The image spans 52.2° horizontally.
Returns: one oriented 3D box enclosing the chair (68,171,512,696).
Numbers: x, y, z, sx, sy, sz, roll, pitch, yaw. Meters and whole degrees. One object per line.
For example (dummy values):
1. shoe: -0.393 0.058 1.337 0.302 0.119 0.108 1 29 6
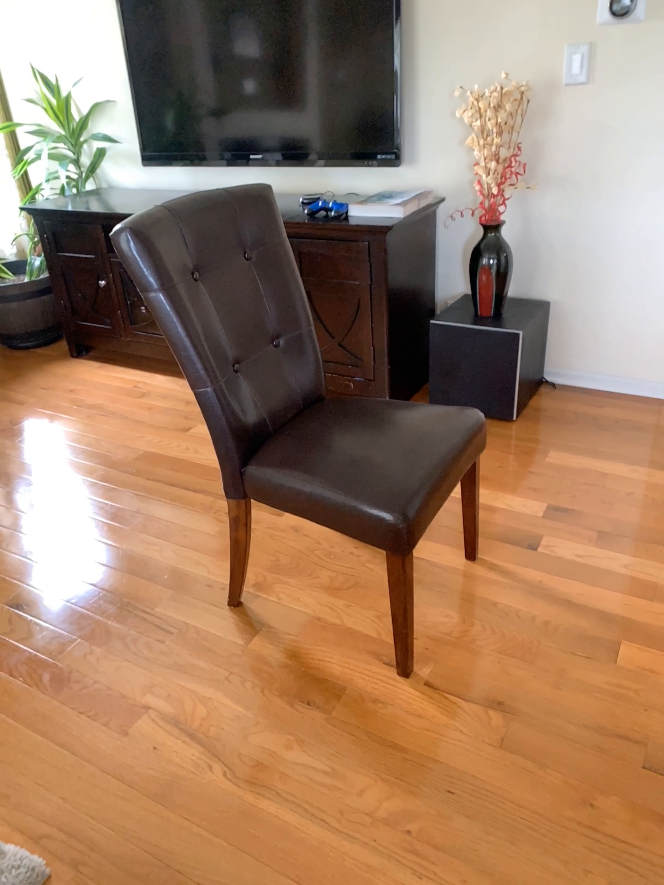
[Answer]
1. chair: -0.041 -0.073 1.595 0.722 0.977 0.541 12 32 27
